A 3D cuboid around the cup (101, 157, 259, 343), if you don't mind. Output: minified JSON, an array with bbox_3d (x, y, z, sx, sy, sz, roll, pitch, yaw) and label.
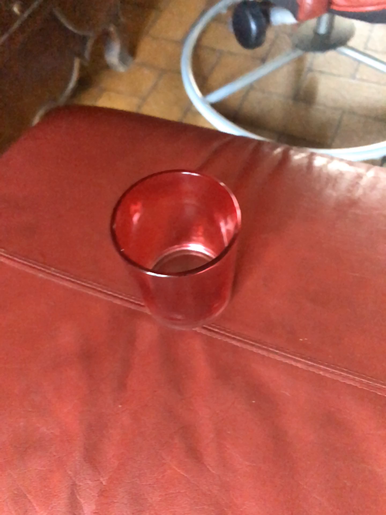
[{"bbox_3d":[-0.002,-0.001,0.268,0.070,0.090,0.070,-2,61,3],"label":"cup"}]
